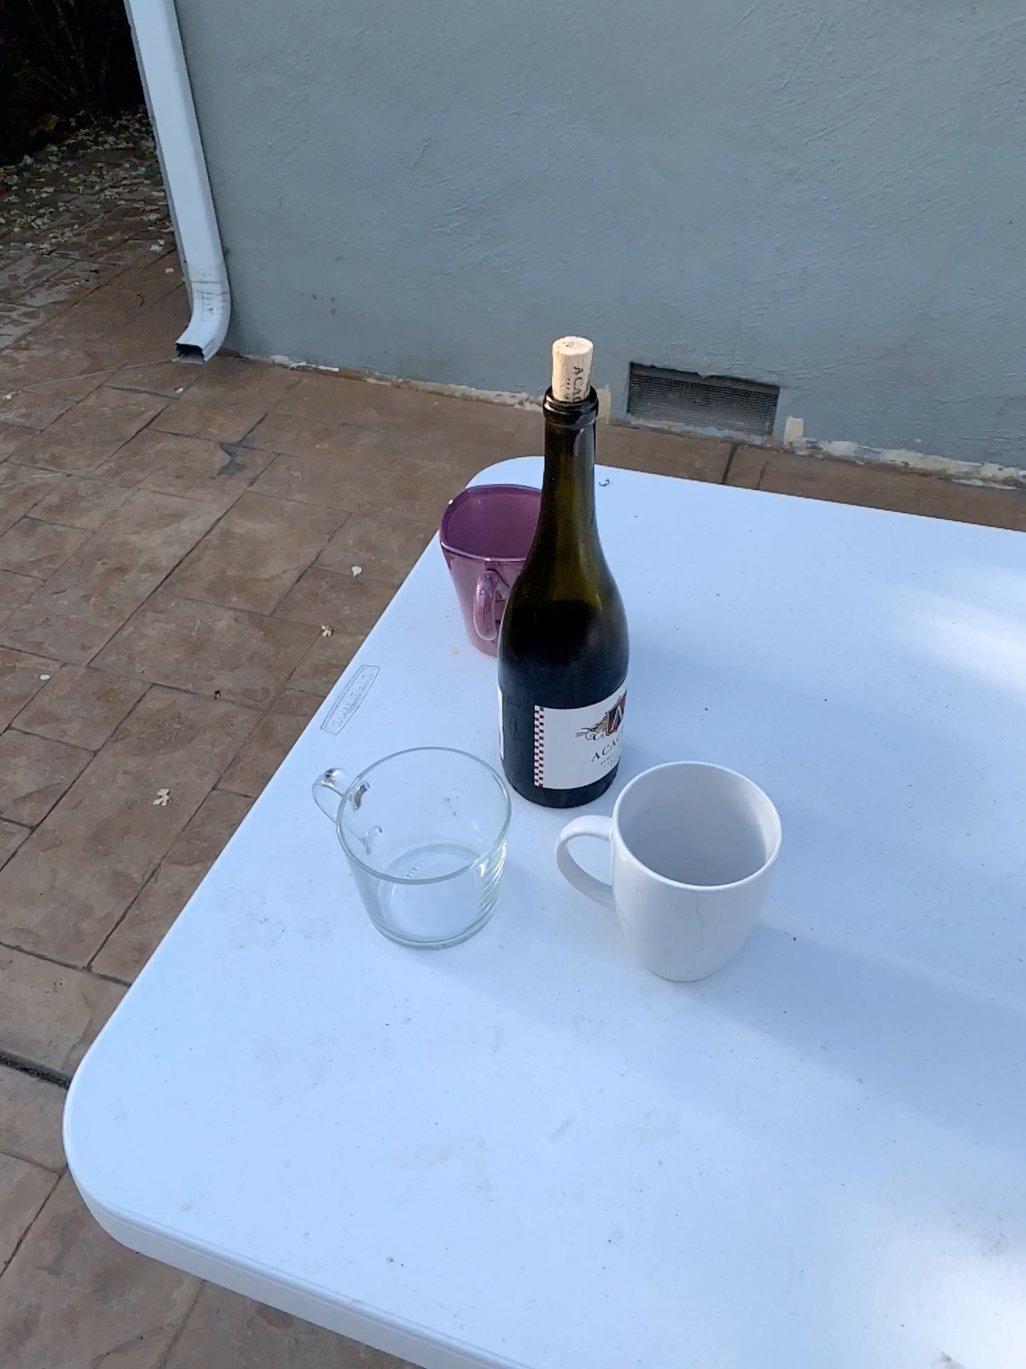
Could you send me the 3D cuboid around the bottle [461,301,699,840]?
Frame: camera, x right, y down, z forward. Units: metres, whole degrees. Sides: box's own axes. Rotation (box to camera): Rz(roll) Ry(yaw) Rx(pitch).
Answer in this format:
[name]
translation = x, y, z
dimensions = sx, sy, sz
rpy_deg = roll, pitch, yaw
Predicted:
[bottle]
translation = 0.035, -0.054, 0.645
dimensions = 0.087, 0.318, 0.087
rpy_deg = 0, 42, 0
